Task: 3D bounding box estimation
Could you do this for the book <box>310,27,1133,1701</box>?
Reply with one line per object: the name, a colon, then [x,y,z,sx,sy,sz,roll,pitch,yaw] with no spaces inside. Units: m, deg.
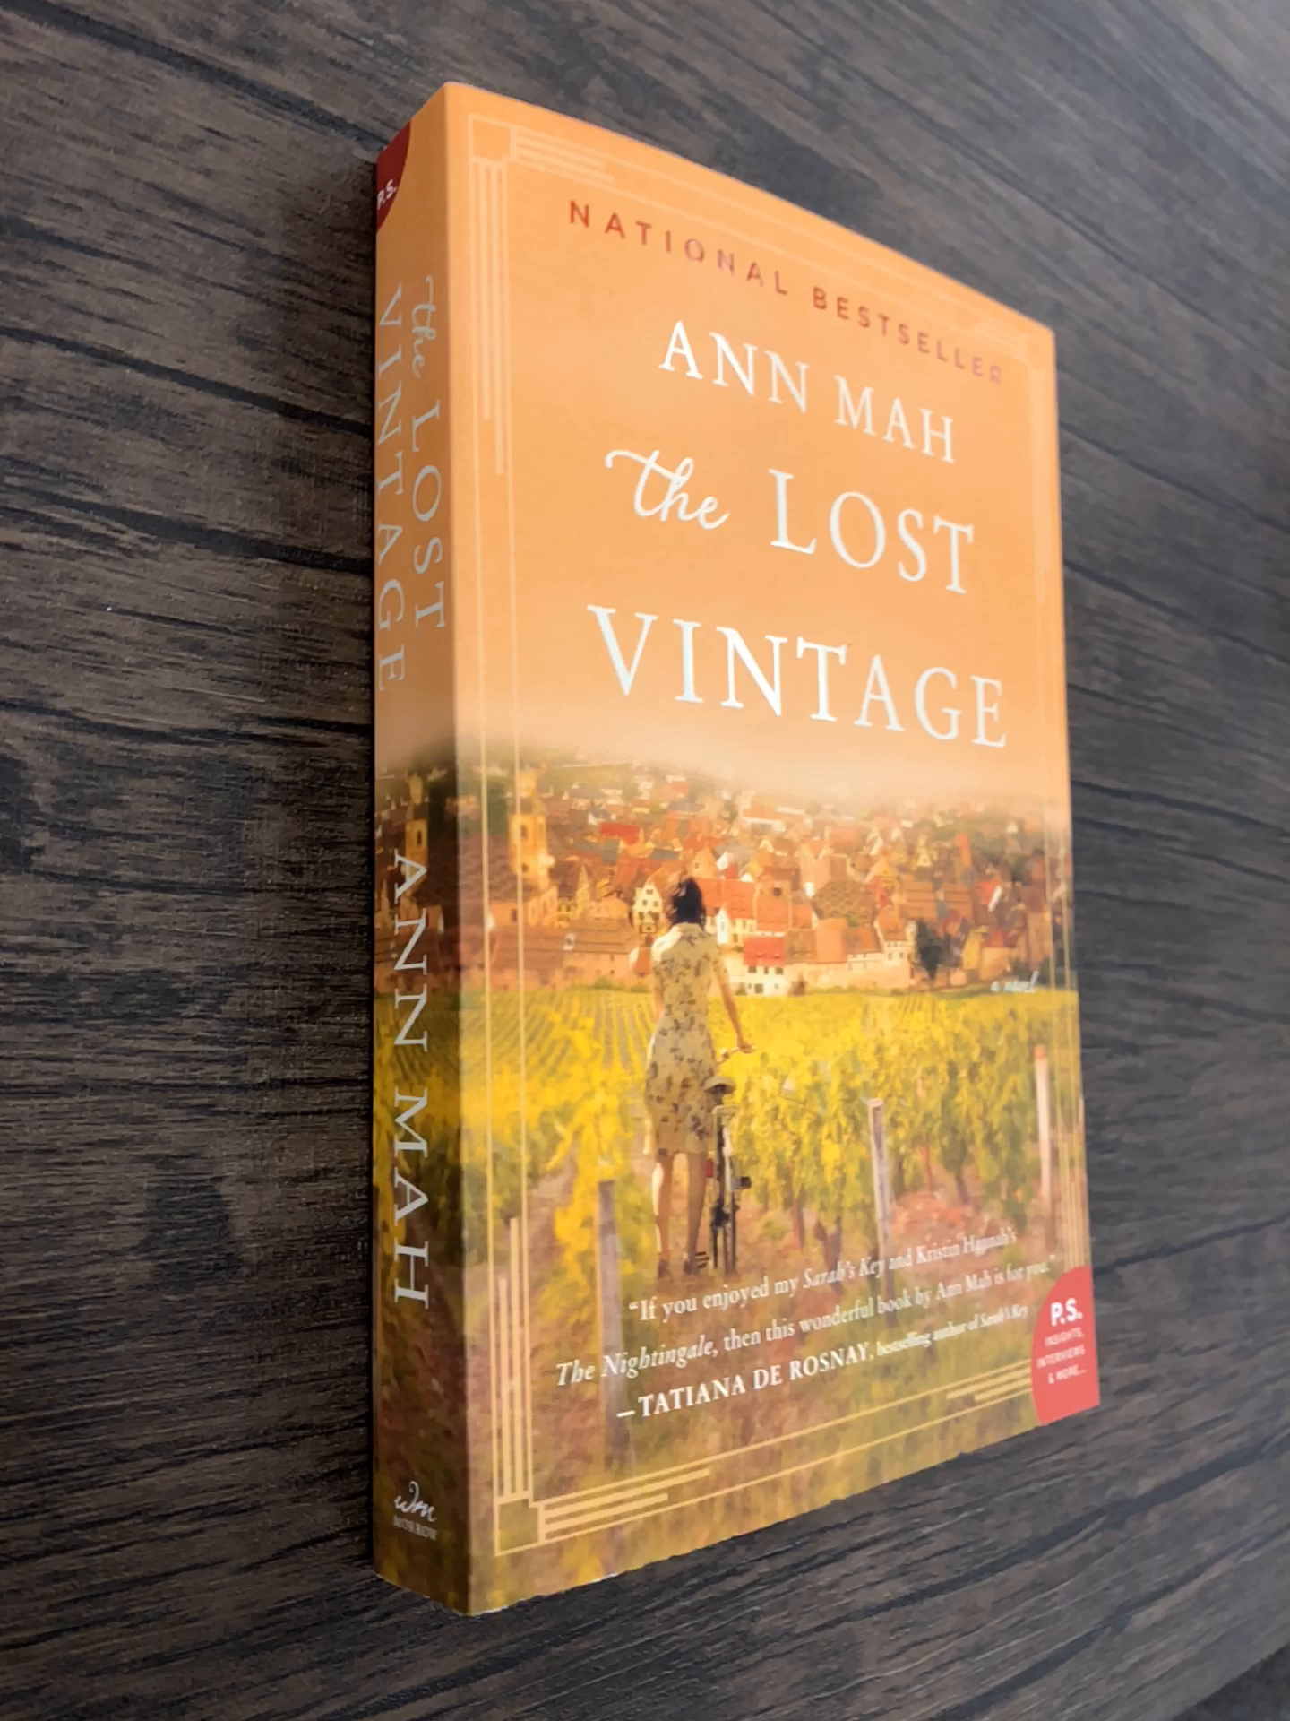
book: [0.018,0.000,0.231,0.134,0.040,0.200,3,83,-40]
